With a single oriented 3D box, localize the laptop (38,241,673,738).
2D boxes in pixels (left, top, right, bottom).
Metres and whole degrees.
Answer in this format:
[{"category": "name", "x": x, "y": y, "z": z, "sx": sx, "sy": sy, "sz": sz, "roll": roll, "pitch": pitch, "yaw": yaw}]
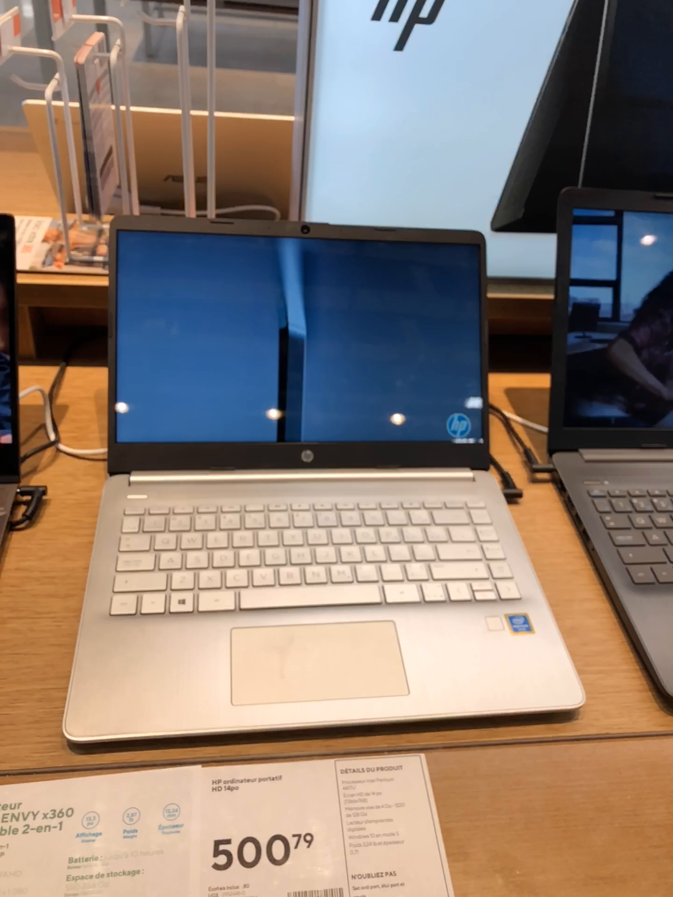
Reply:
[{"category": "laptop", "x": -0.009, "y": -0.003, "z": 0.545, "sx": 0.308, "sy": 0.167, "sz": 0.347, "roll": -1, "pitch": 38, "yaw": -6}]
